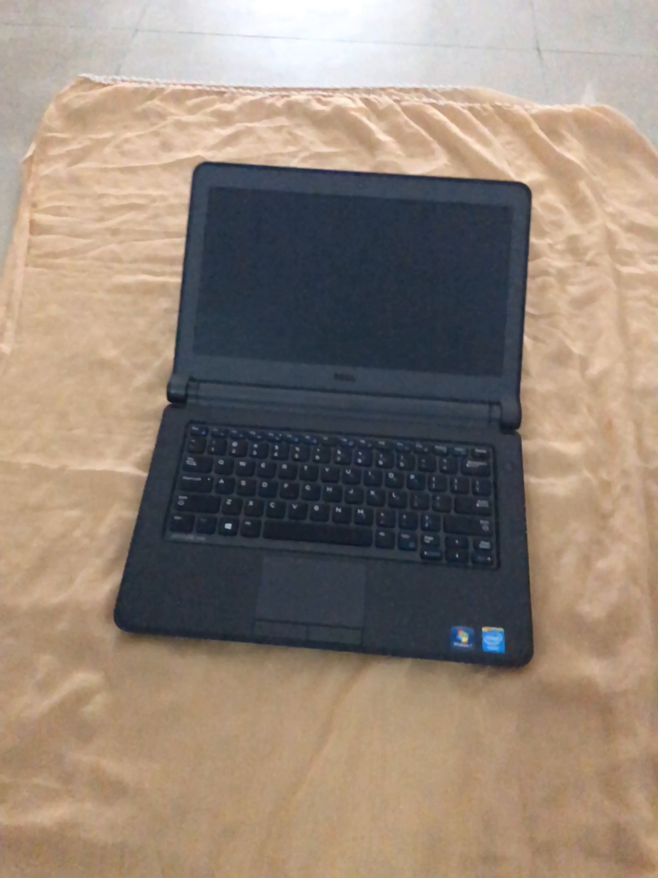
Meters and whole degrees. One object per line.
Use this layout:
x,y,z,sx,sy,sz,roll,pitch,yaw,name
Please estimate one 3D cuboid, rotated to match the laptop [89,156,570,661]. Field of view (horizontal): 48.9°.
0.016,-0.050,0.604,0.308,0.092,0.410,5,59,2,laptop
